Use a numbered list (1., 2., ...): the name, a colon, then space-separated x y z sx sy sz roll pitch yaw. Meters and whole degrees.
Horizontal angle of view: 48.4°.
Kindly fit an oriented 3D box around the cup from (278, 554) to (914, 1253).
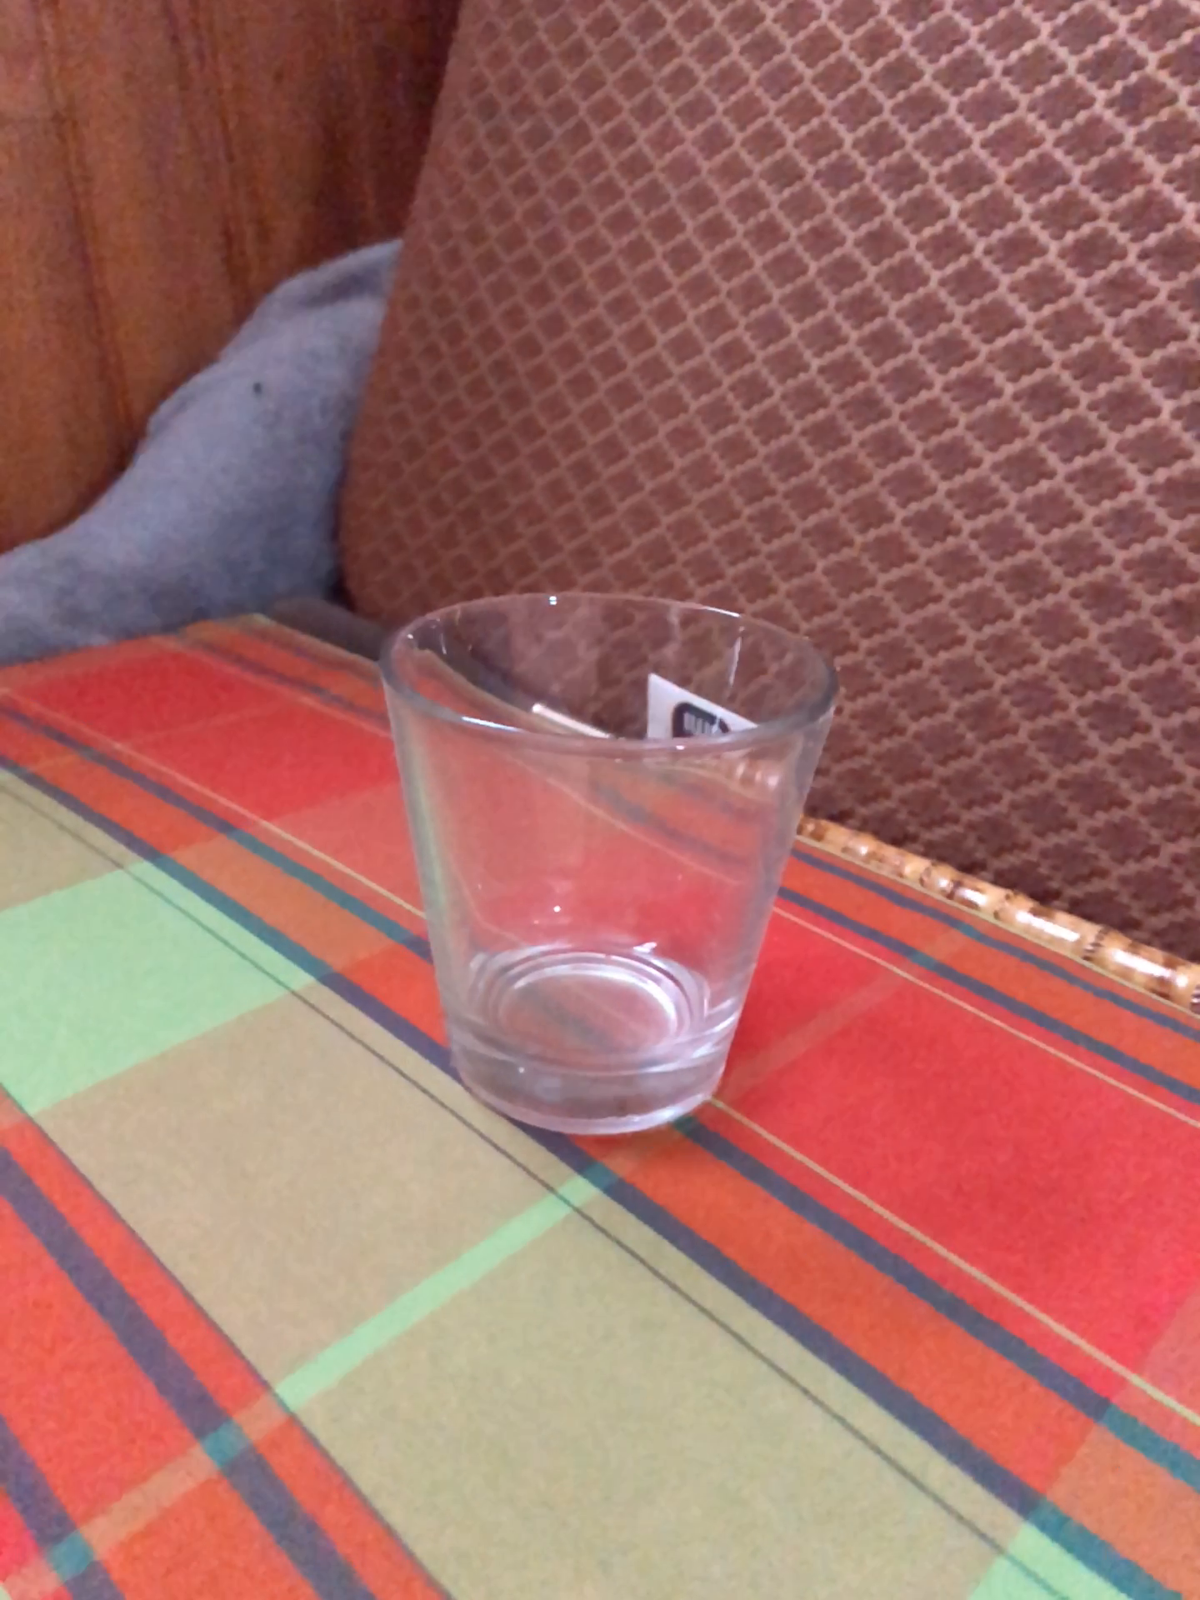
1. cup: -0.003 0.011 0.255 0.080 0.090 0.080 2 24 -1
